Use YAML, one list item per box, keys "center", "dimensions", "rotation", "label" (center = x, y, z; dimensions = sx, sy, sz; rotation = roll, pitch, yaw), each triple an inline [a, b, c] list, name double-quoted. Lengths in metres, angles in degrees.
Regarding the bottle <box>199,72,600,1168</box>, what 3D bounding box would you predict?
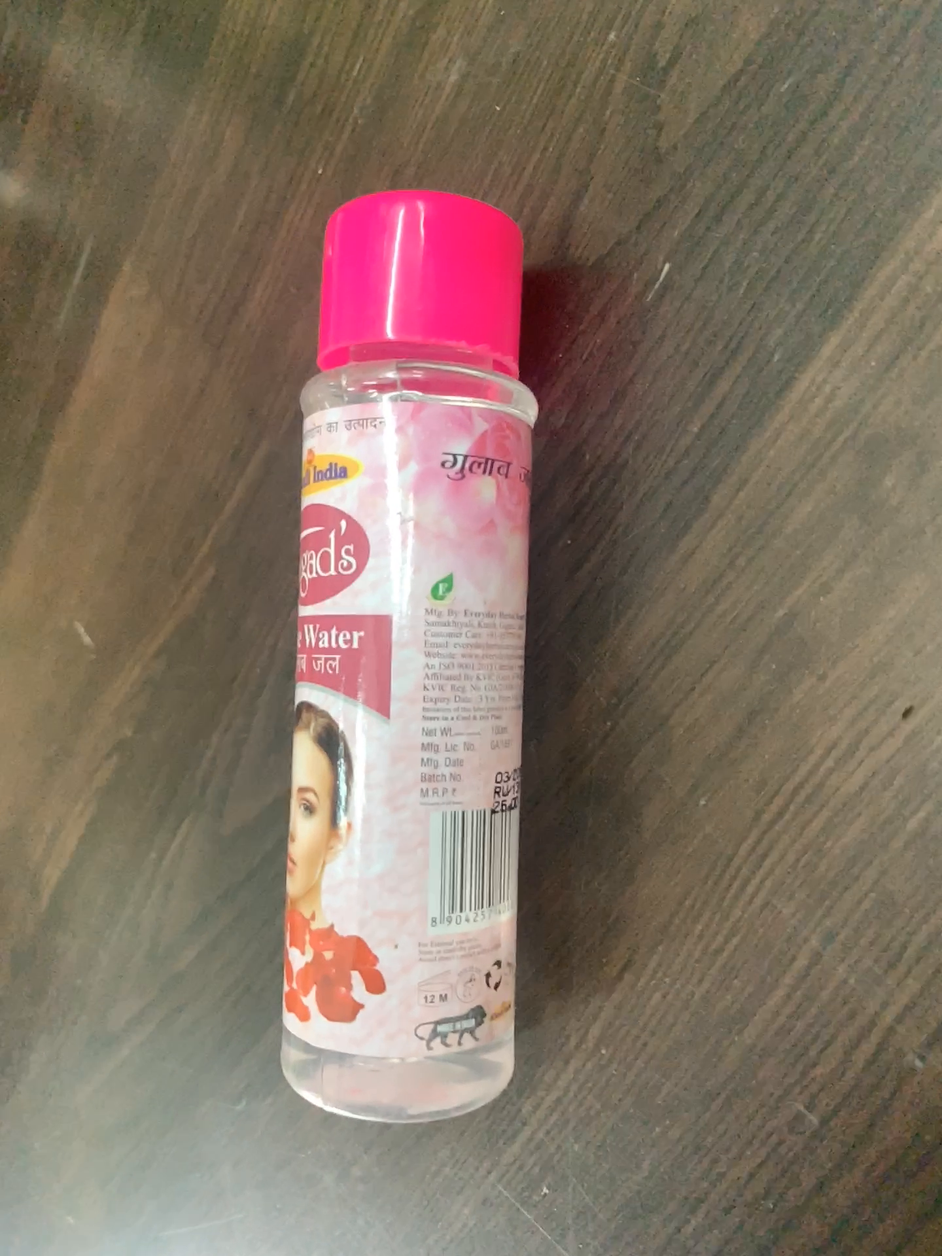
- center: [-0.013, -0.001, 0.159]
  dimensions: [0.050, 0.040, 0.140]
  rotation: [3, 92, 48]
  label: "bottle"
